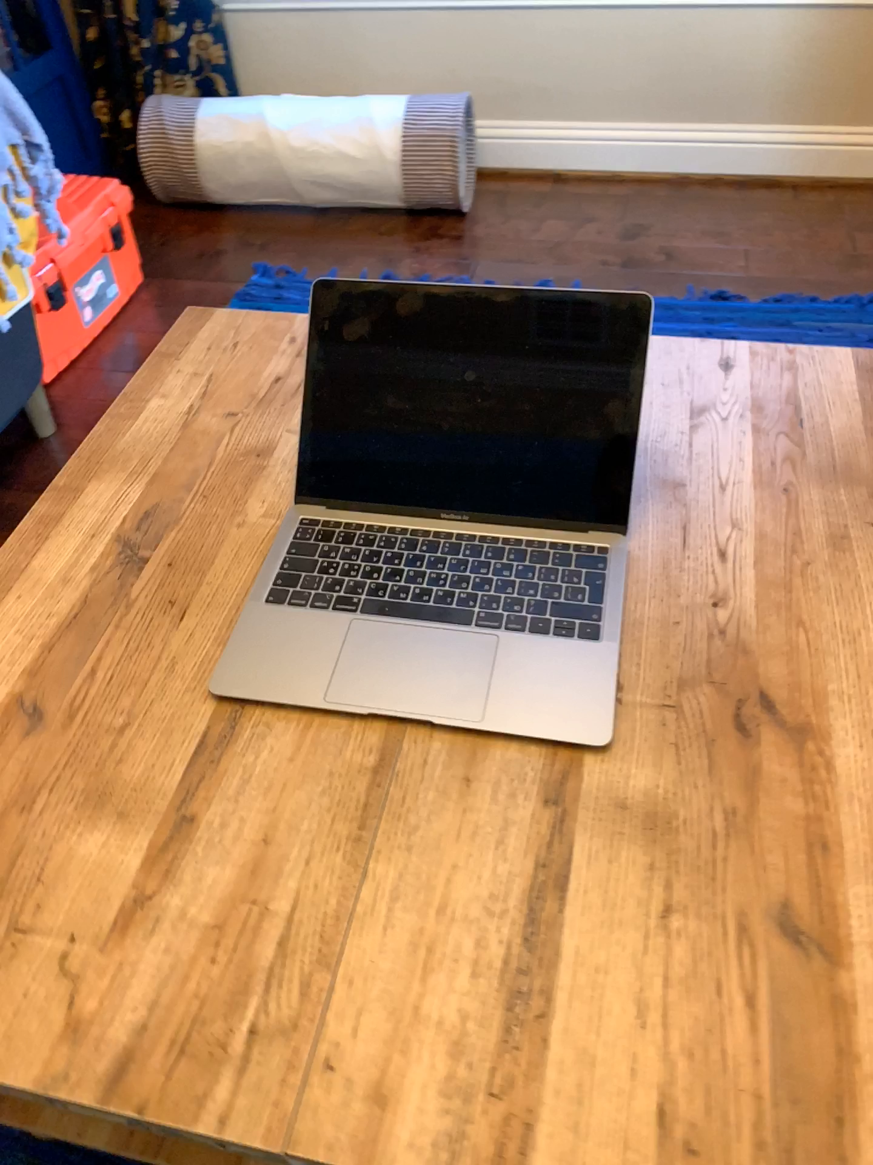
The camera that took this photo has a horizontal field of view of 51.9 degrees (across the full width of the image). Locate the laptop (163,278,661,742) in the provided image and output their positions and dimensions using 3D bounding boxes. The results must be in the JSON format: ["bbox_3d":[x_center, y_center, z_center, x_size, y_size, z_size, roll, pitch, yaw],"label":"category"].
[{"bbox_3d":[0.011,-0.082,0.714,0.291,0.141,0.354,7,48,12],"label":"laptop"}]
